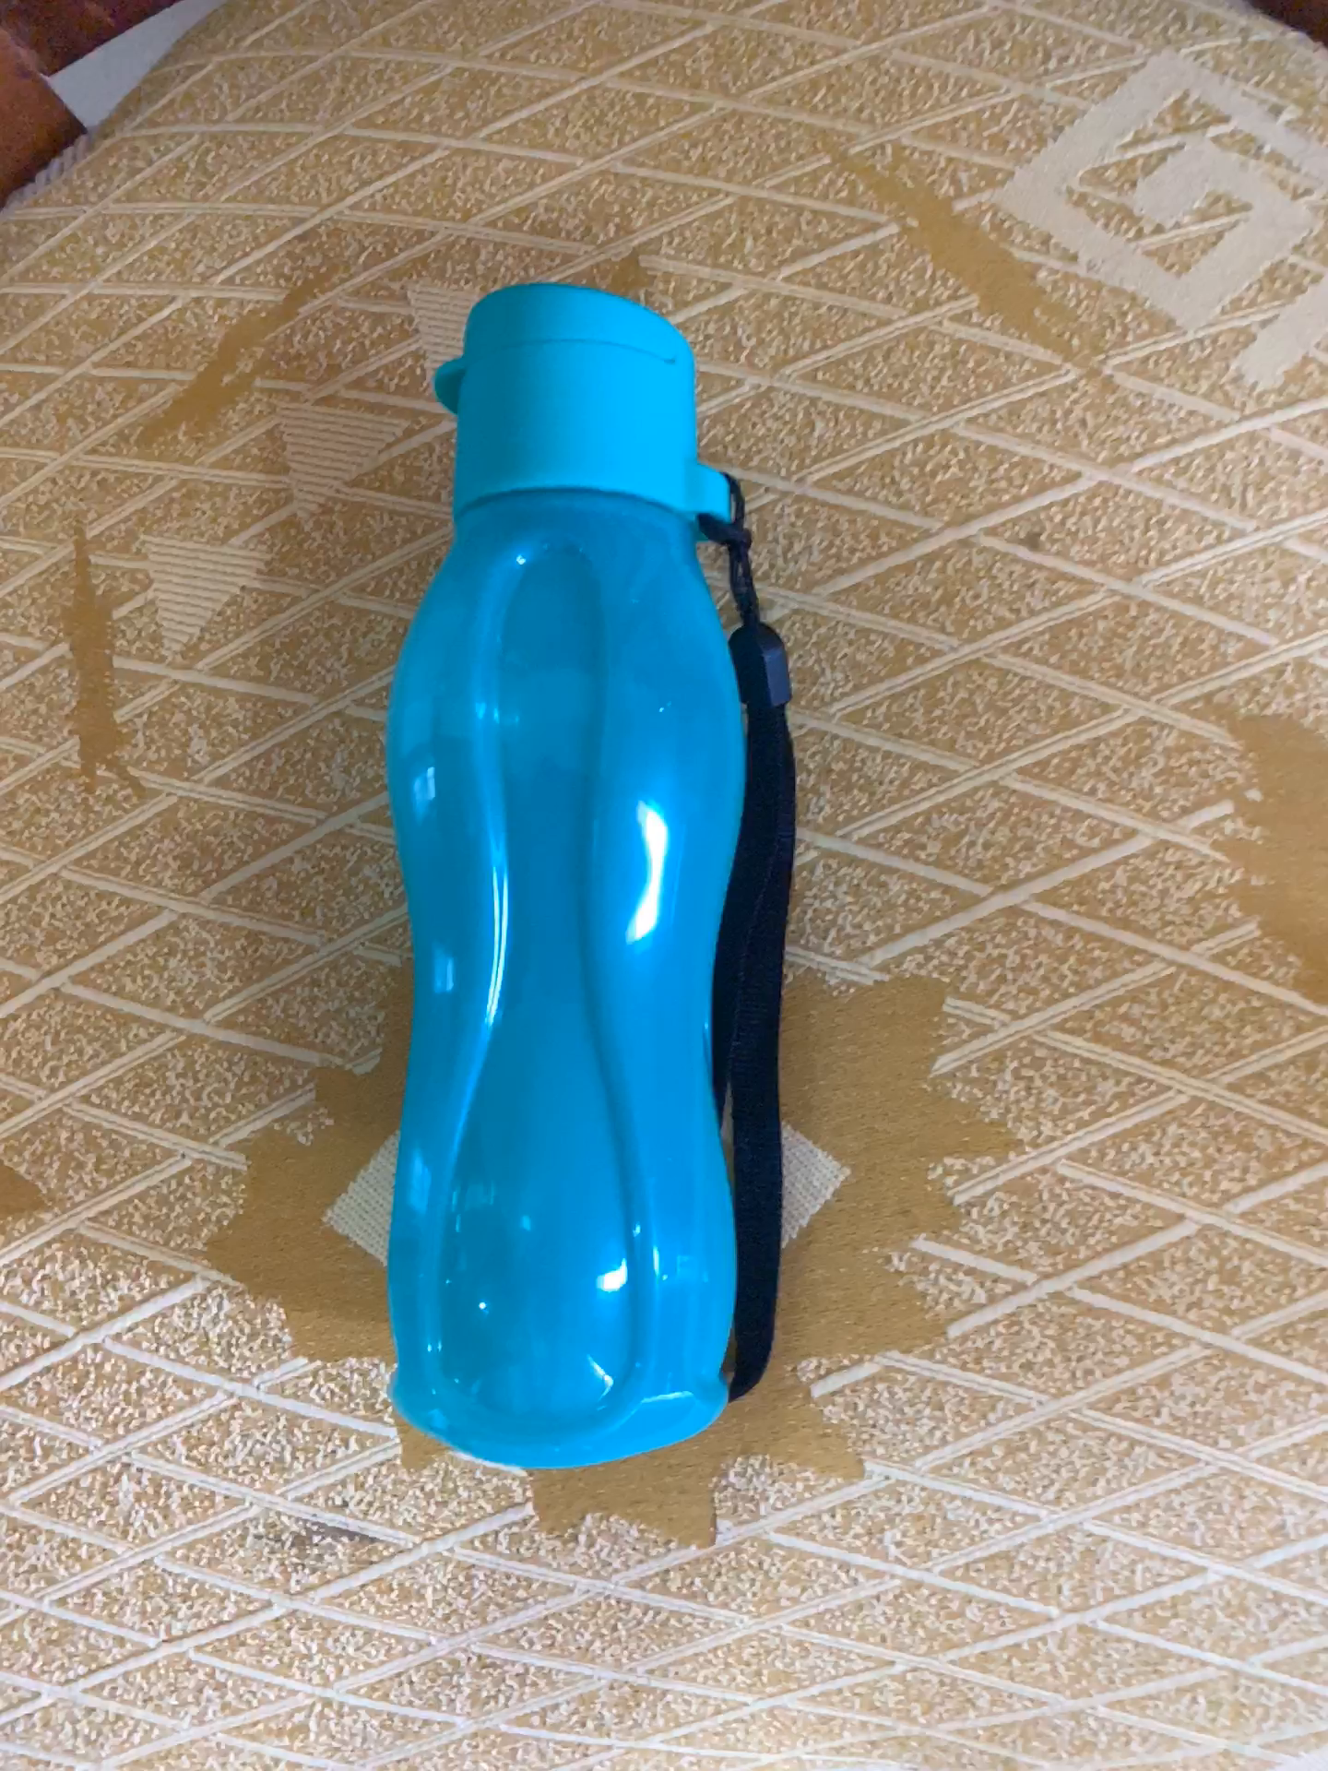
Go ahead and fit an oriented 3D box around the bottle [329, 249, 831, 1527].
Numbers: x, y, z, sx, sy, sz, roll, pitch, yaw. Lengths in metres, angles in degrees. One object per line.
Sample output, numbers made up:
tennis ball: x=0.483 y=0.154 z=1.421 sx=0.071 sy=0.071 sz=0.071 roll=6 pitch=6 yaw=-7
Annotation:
bottle: x=-0.010 y=-0.002 z=0.242 sx=0.070 sy=0.050 sz=0.200 roll=2 pitch=86 yaw=6
